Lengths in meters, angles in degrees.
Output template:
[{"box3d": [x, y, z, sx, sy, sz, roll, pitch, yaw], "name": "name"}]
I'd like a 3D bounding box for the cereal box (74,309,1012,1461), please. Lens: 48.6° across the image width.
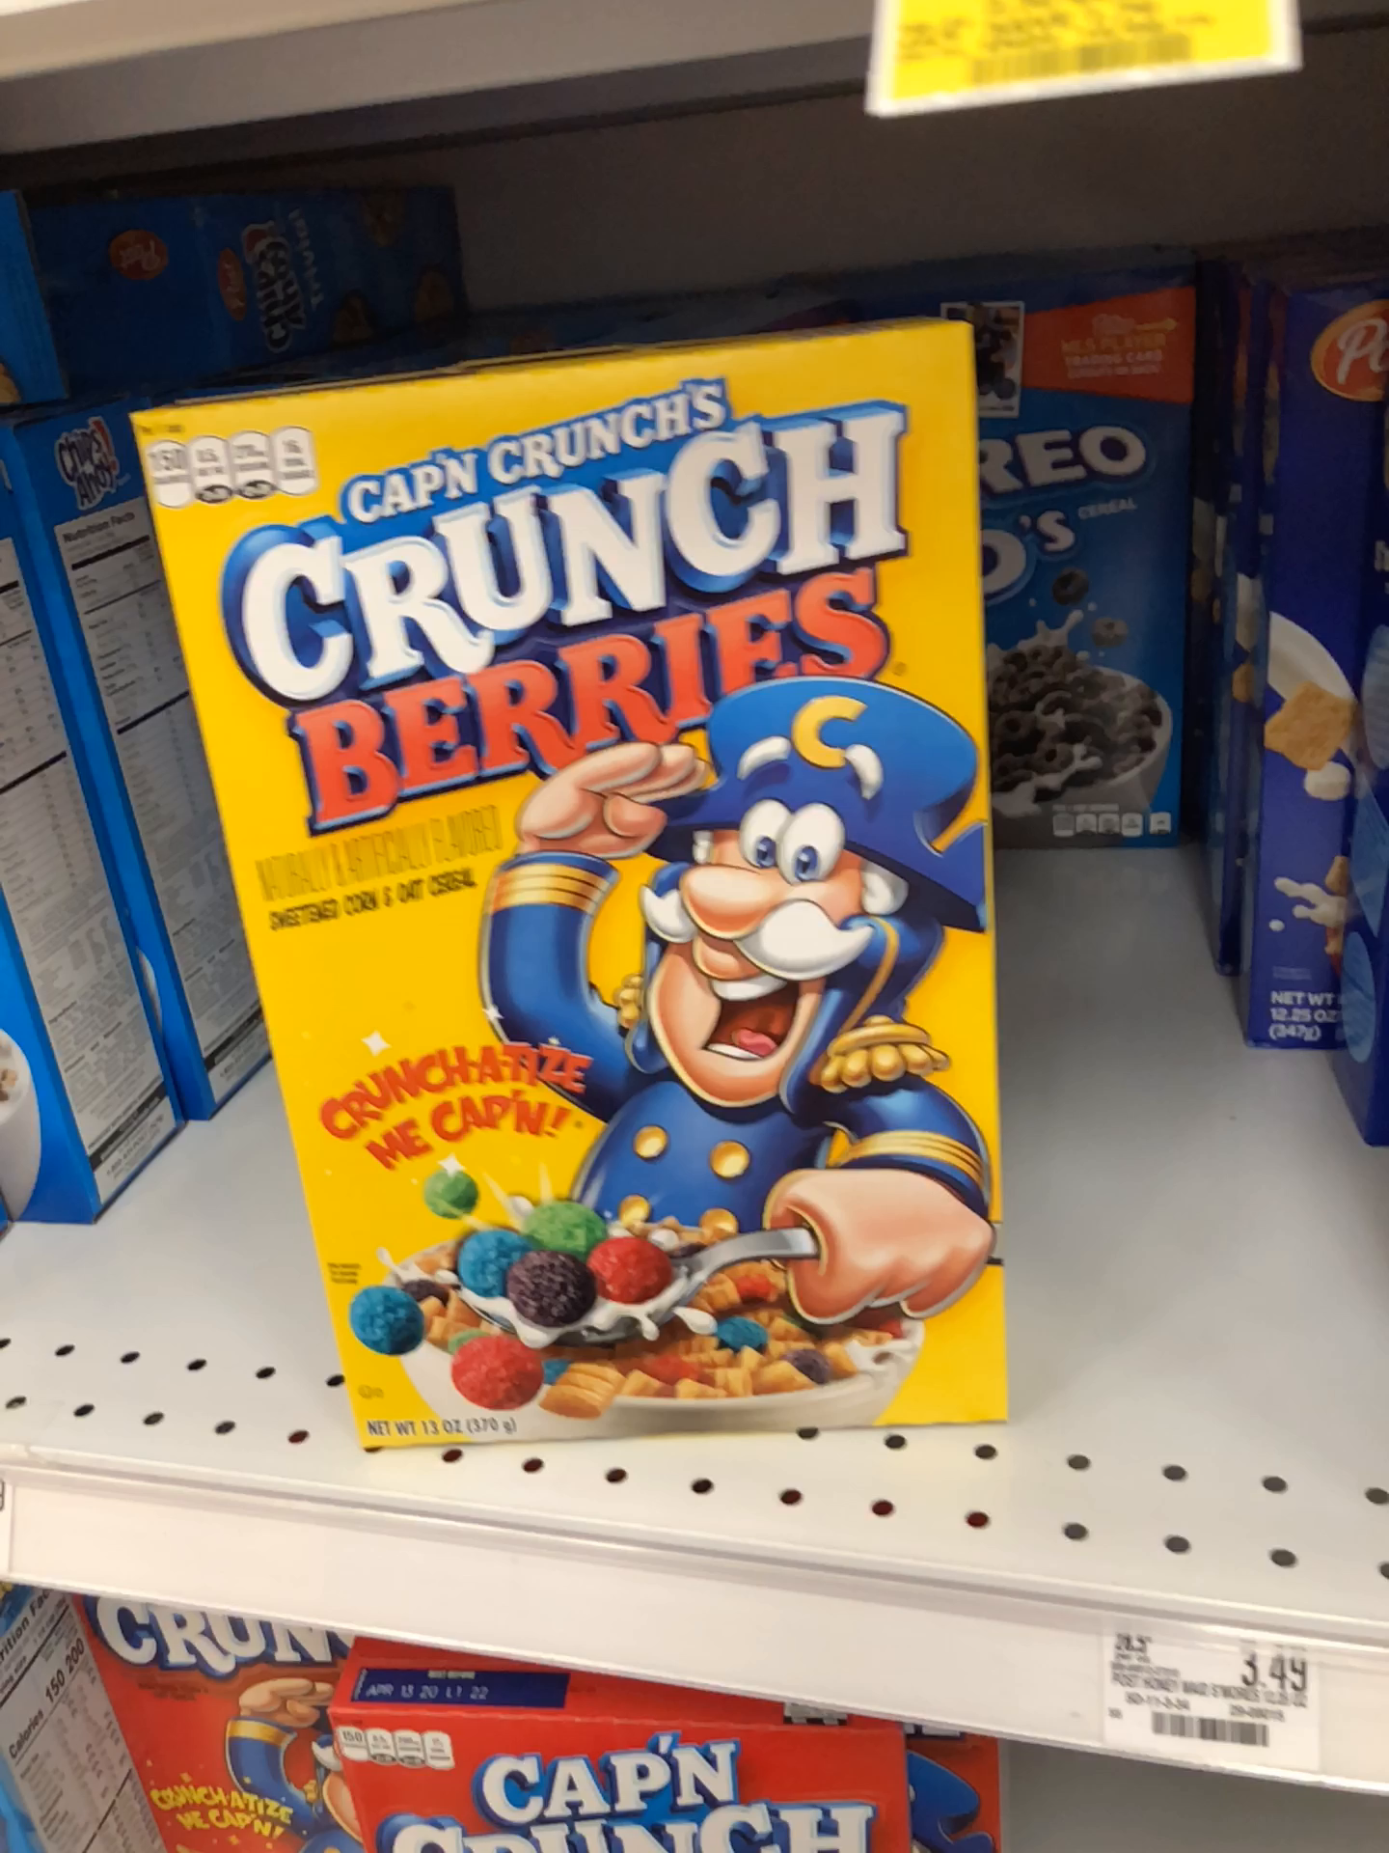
[{"box3d": [-0.024, 0.001, 0.415, 0.200, 0.289, 0.060, -4, 20, 6], "name": "cereal box"}]
